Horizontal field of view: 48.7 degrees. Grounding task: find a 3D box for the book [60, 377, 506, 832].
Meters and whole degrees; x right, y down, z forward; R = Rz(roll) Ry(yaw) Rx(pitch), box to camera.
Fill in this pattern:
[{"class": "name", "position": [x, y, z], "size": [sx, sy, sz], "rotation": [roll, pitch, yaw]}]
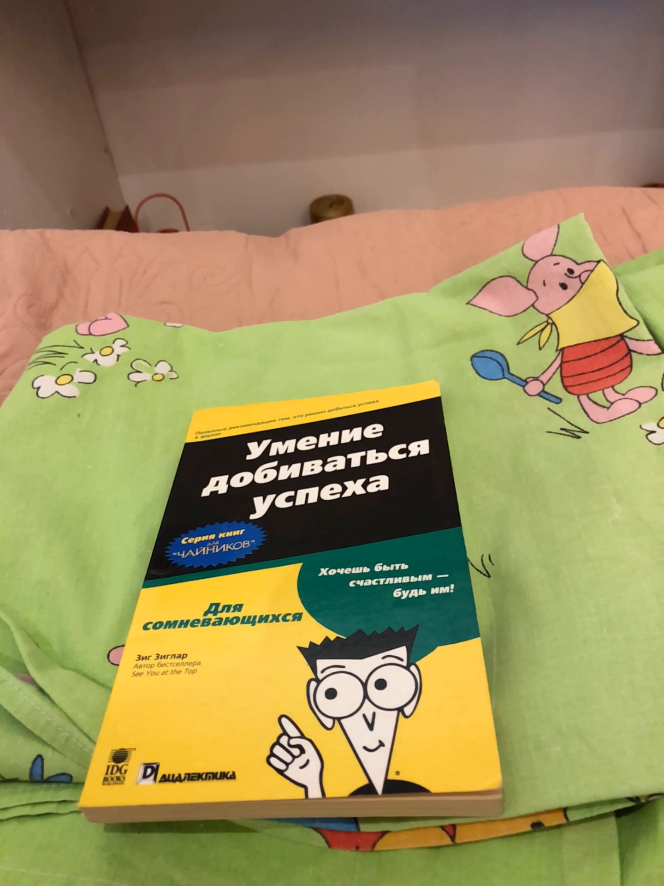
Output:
[{"class": "book", "position": [-0.013, 0.042, 0.281], "size": [0.125, 0.015, 0.192], "rotation": [-7, 39, 7]}]
